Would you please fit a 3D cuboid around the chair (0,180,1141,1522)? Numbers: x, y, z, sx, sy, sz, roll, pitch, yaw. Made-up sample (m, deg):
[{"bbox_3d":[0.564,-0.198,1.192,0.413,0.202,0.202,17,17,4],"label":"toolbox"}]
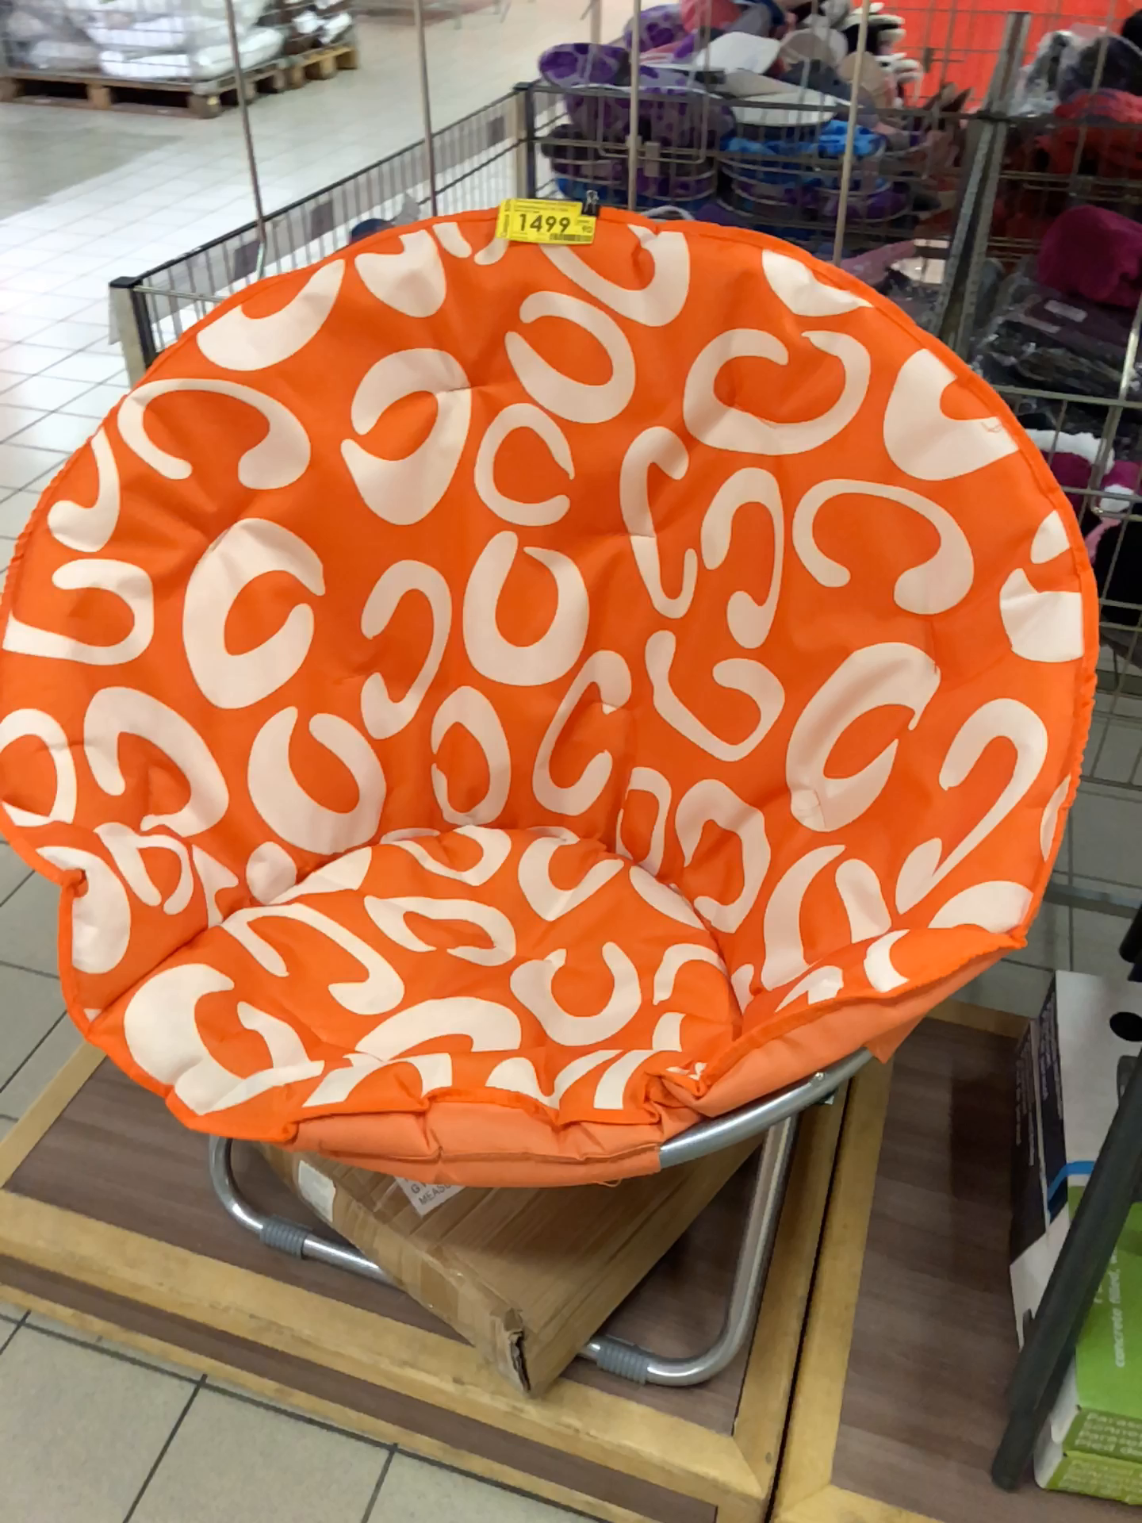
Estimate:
[{"bbox_3d":[-0.007,-0.028,0.992,0.733,0.606,0.715,13,39,17],"label":"chair"}]
